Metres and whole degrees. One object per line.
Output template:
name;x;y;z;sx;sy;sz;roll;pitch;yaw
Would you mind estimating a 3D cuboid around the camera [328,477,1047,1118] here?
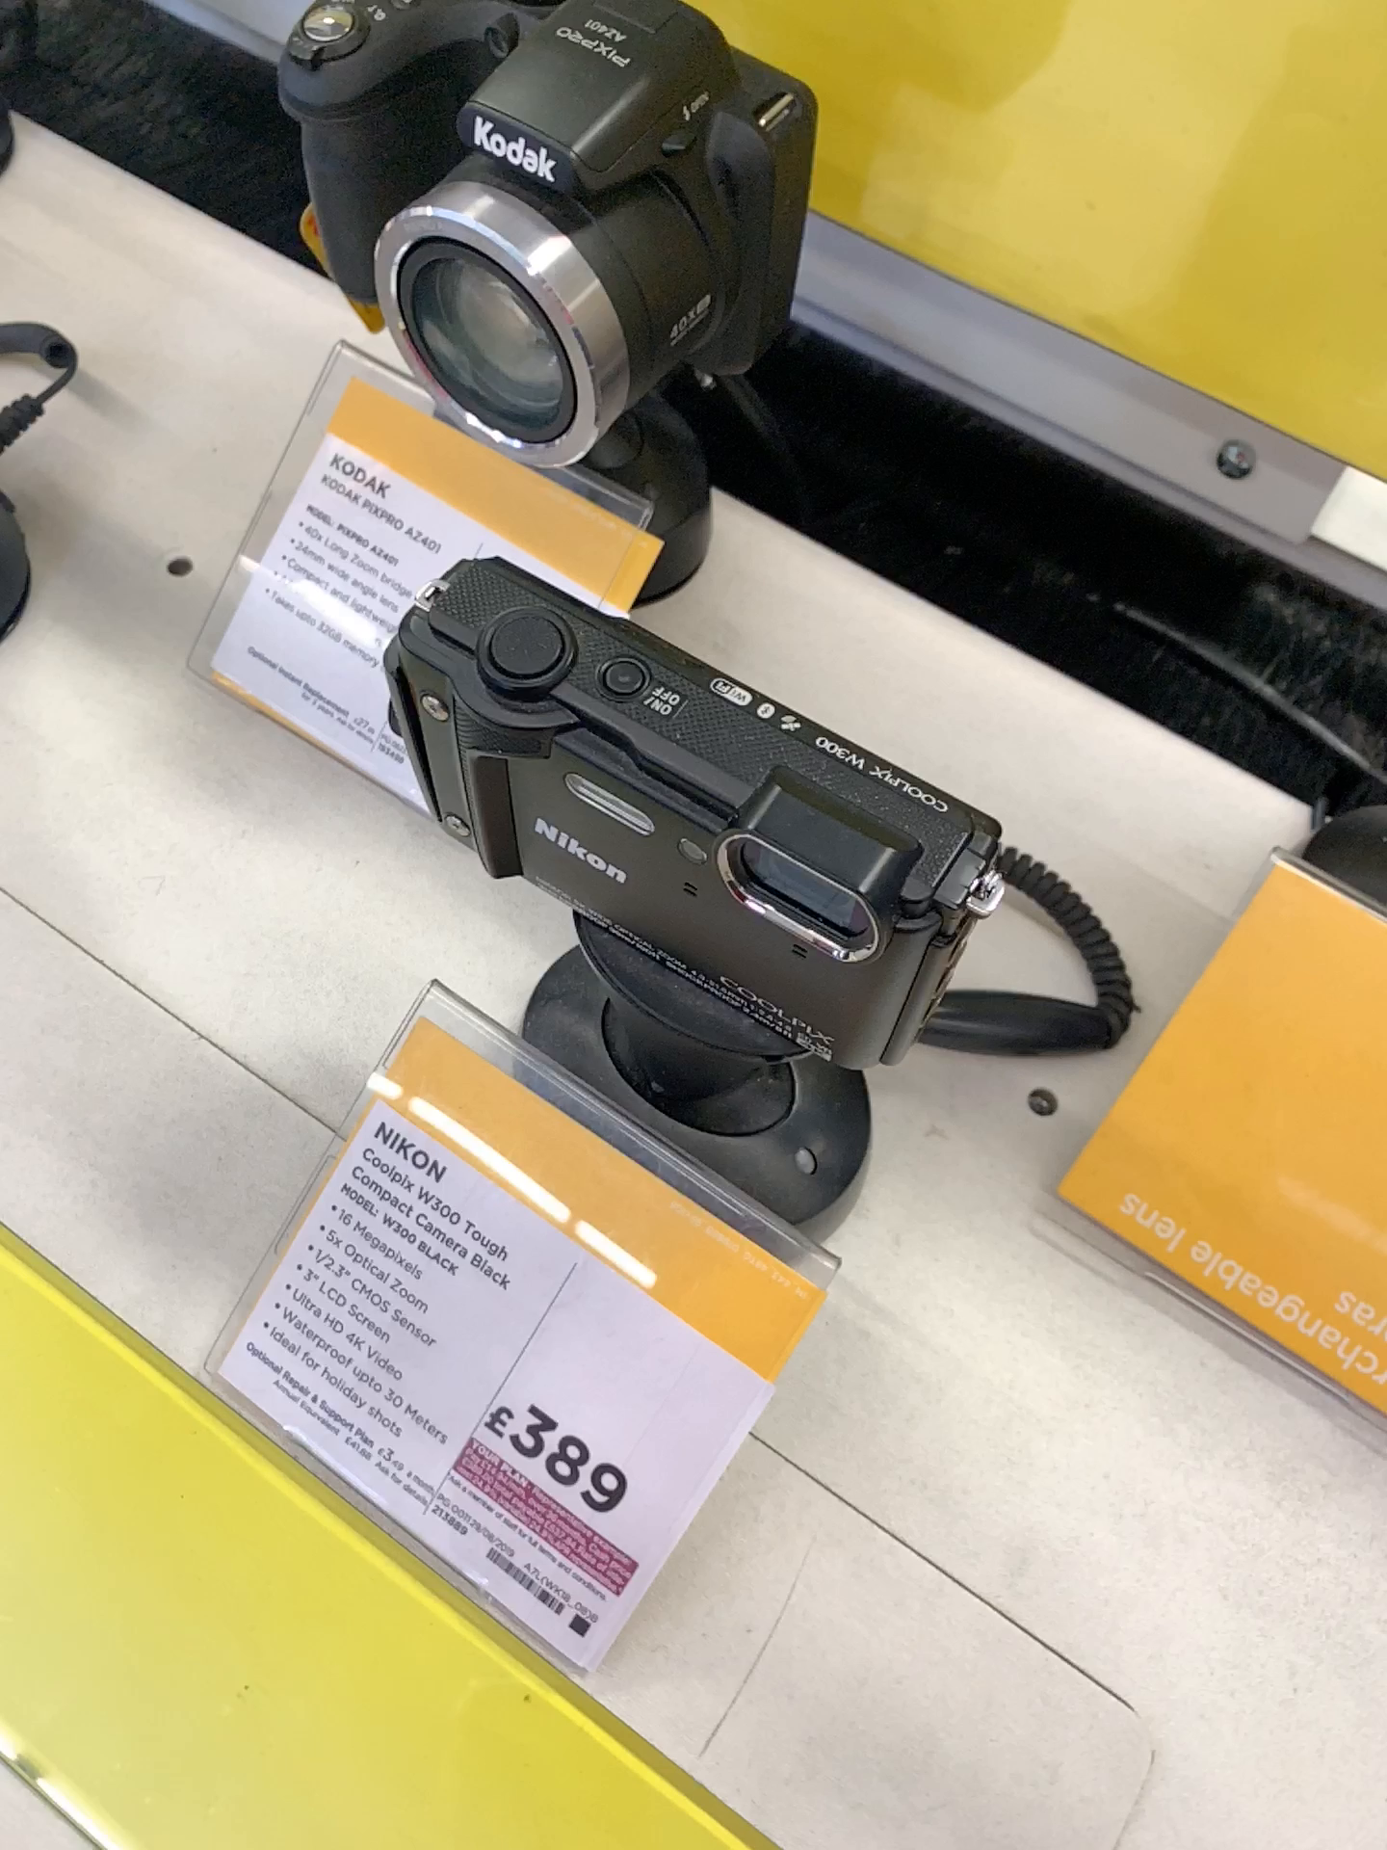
camera;-0.004;-0.021;0.263;0.120;0.070;0.030;32;65;14
